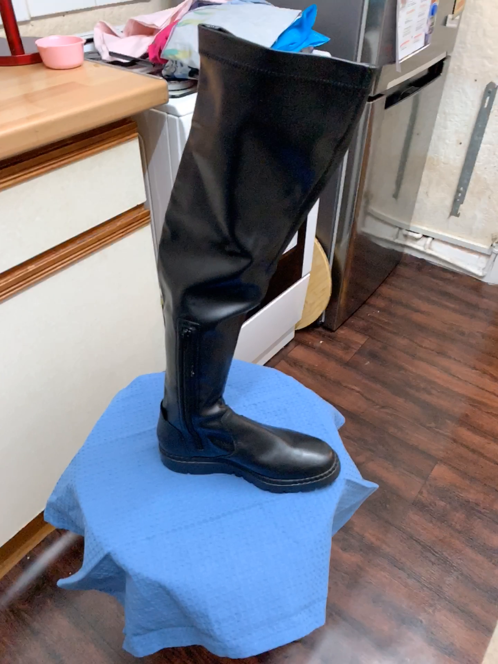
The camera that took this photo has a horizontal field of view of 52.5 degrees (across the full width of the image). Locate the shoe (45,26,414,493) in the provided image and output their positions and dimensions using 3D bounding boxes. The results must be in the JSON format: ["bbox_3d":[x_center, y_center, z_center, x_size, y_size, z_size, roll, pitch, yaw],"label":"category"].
[{"bbox_3d":[-0.009,-0.030,0.577,0.271,0.535,0.107,4,40,7],"label":"shoe"}]
